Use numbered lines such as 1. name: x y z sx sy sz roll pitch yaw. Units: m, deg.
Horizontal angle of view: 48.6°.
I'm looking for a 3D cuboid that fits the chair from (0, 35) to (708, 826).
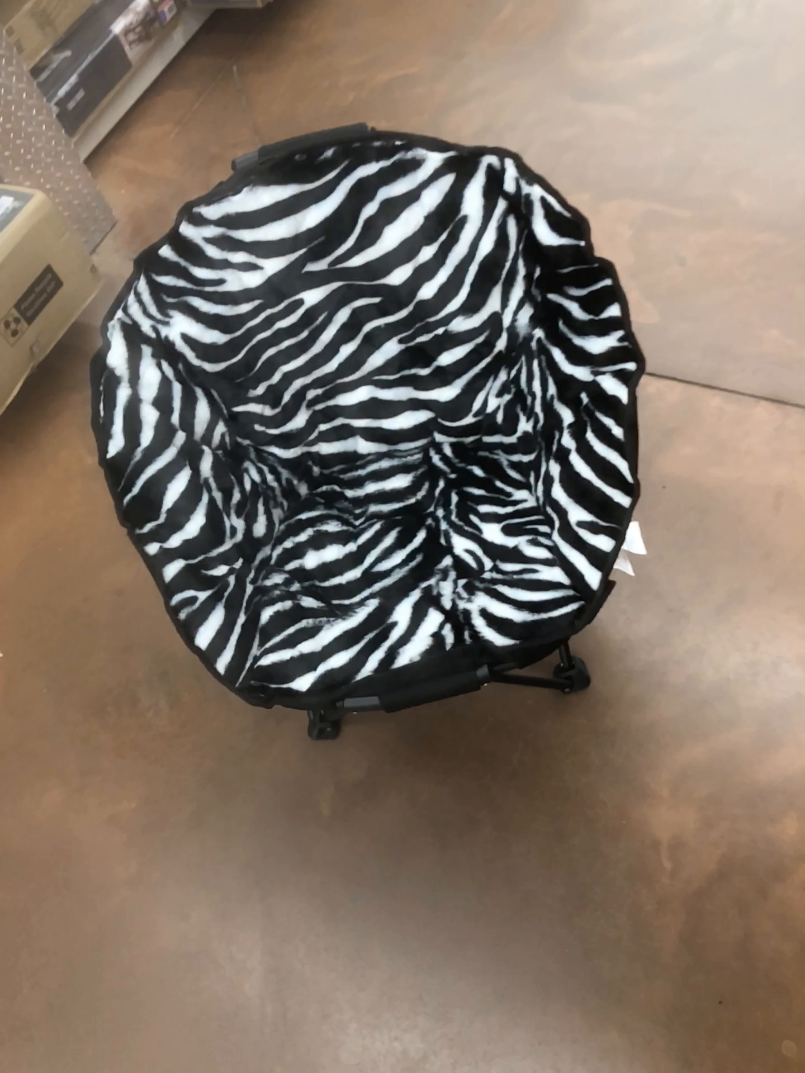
1. chair: -0.049 -0.078 1.093 0.610 0.599 0.601 -13 56 6
